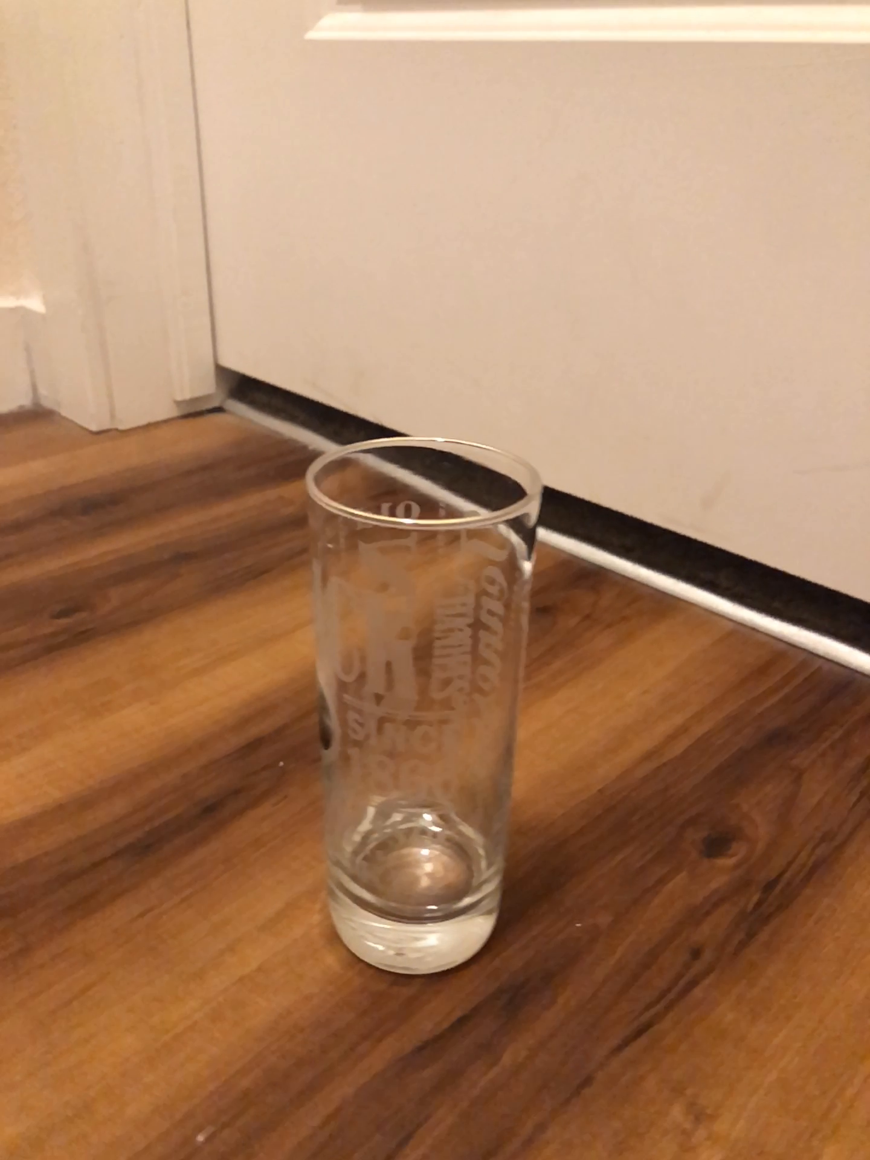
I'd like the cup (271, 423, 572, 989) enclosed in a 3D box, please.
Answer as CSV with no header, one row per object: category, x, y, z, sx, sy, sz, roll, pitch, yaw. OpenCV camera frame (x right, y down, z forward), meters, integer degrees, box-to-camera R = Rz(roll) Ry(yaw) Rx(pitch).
cup,-0.006,0.038,0.282,0.068,0.150,0.067,1,27,-1
